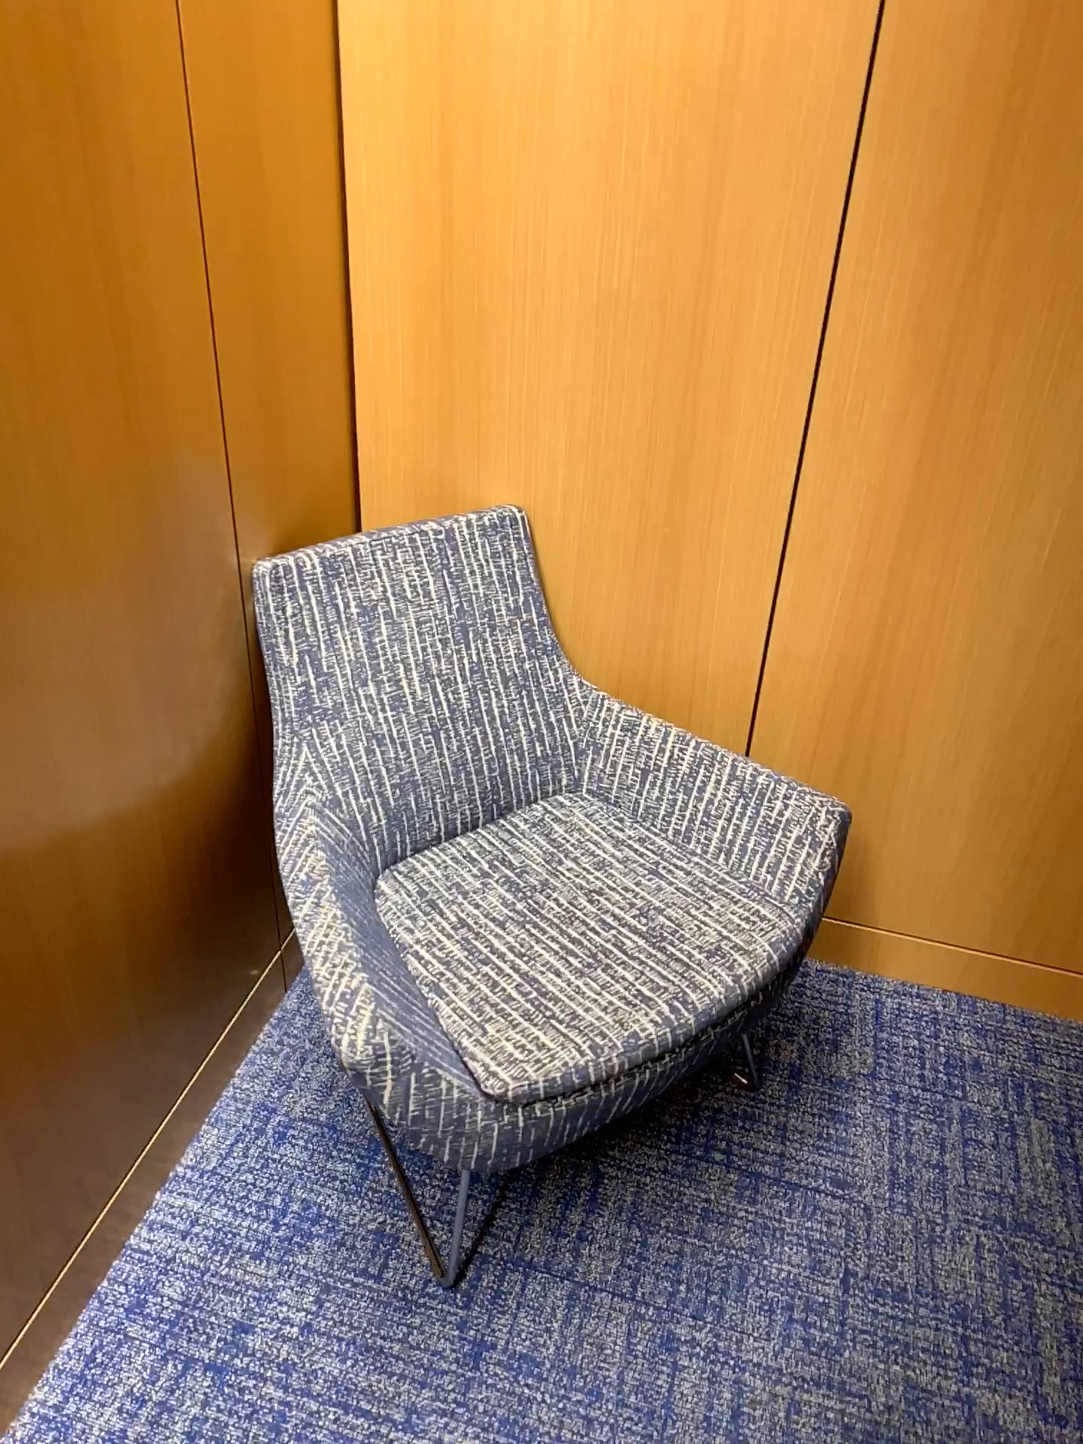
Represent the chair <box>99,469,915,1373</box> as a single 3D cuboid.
[{"bbox_3d":[-0.060,0.183,1.452,0.702,0.746,0.615,-21,40,-33],"label":"chair"}]
